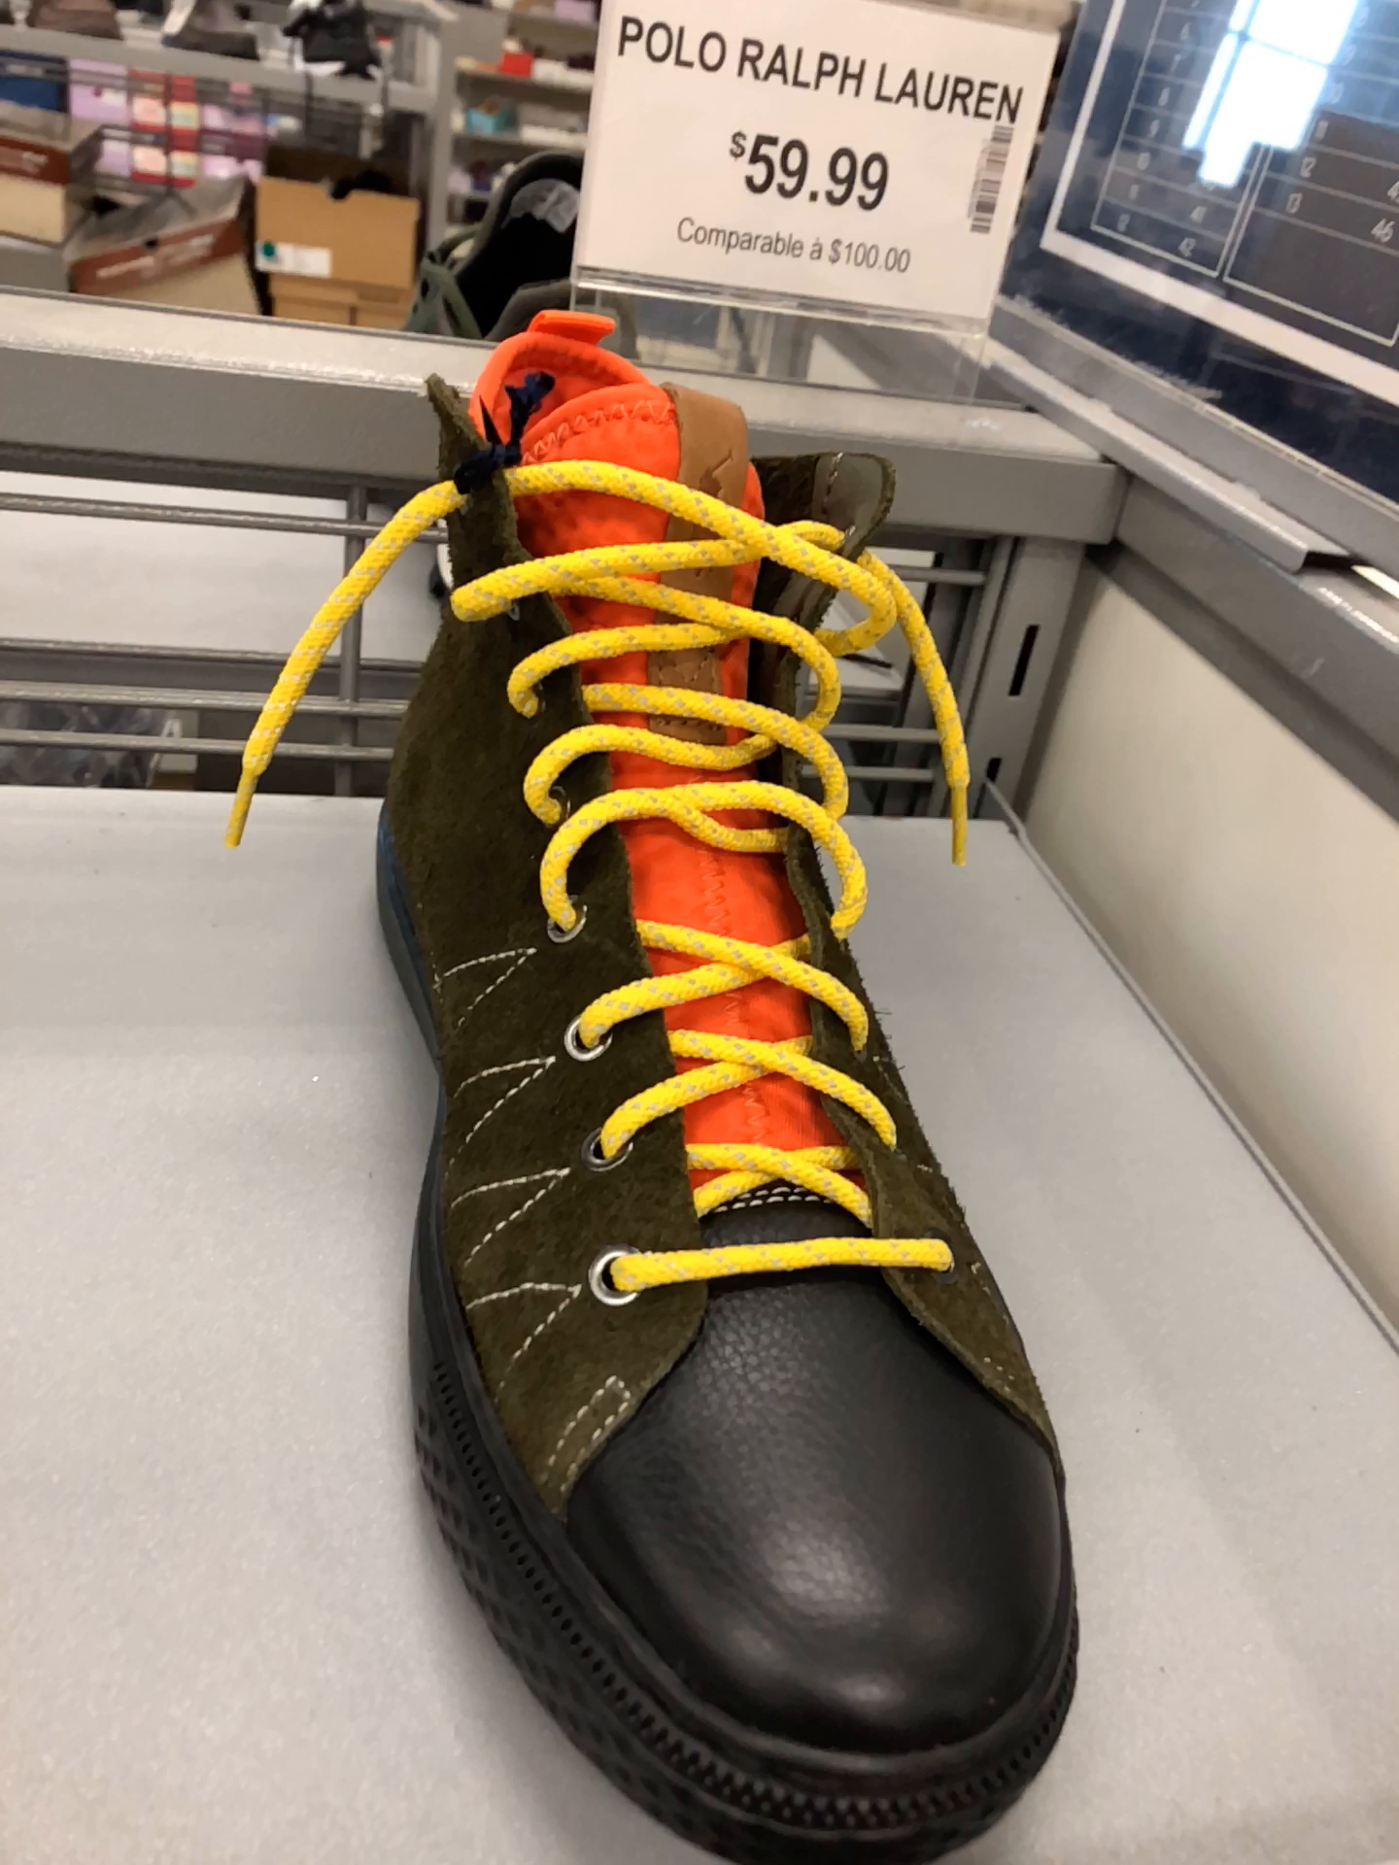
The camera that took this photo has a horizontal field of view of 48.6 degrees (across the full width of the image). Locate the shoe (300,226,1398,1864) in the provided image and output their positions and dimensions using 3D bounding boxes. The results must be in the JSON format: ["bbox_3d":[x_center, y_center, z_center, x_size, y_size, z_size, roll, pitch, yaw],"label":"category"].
[{"bbox_3d":[-0.001,-0.014,0.309,0.125,0.171,0.300,-1,33,-19],"label":"shoe"}]
